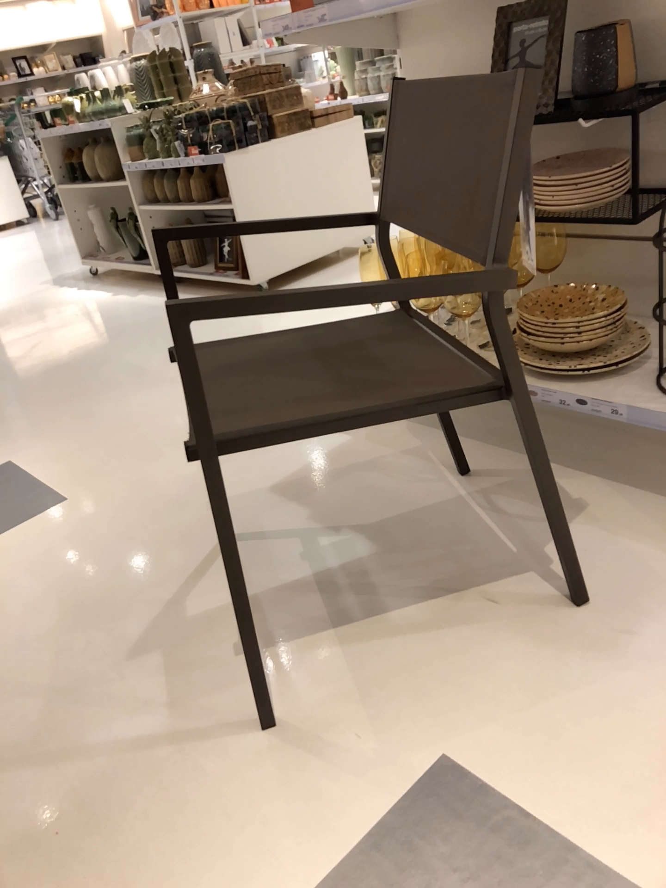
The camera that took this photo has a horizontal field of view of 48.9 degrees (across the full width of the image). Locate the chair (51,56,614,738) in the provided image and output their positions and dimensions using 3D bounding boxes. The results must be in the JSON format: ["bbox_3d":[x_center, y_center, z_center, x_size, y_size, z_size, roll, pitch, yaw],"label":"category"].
[{"bbox_3d":[0.013,-0.115,1.156,0.580,0.764,0.574,-16,27,-7],"label":"chair"}]
